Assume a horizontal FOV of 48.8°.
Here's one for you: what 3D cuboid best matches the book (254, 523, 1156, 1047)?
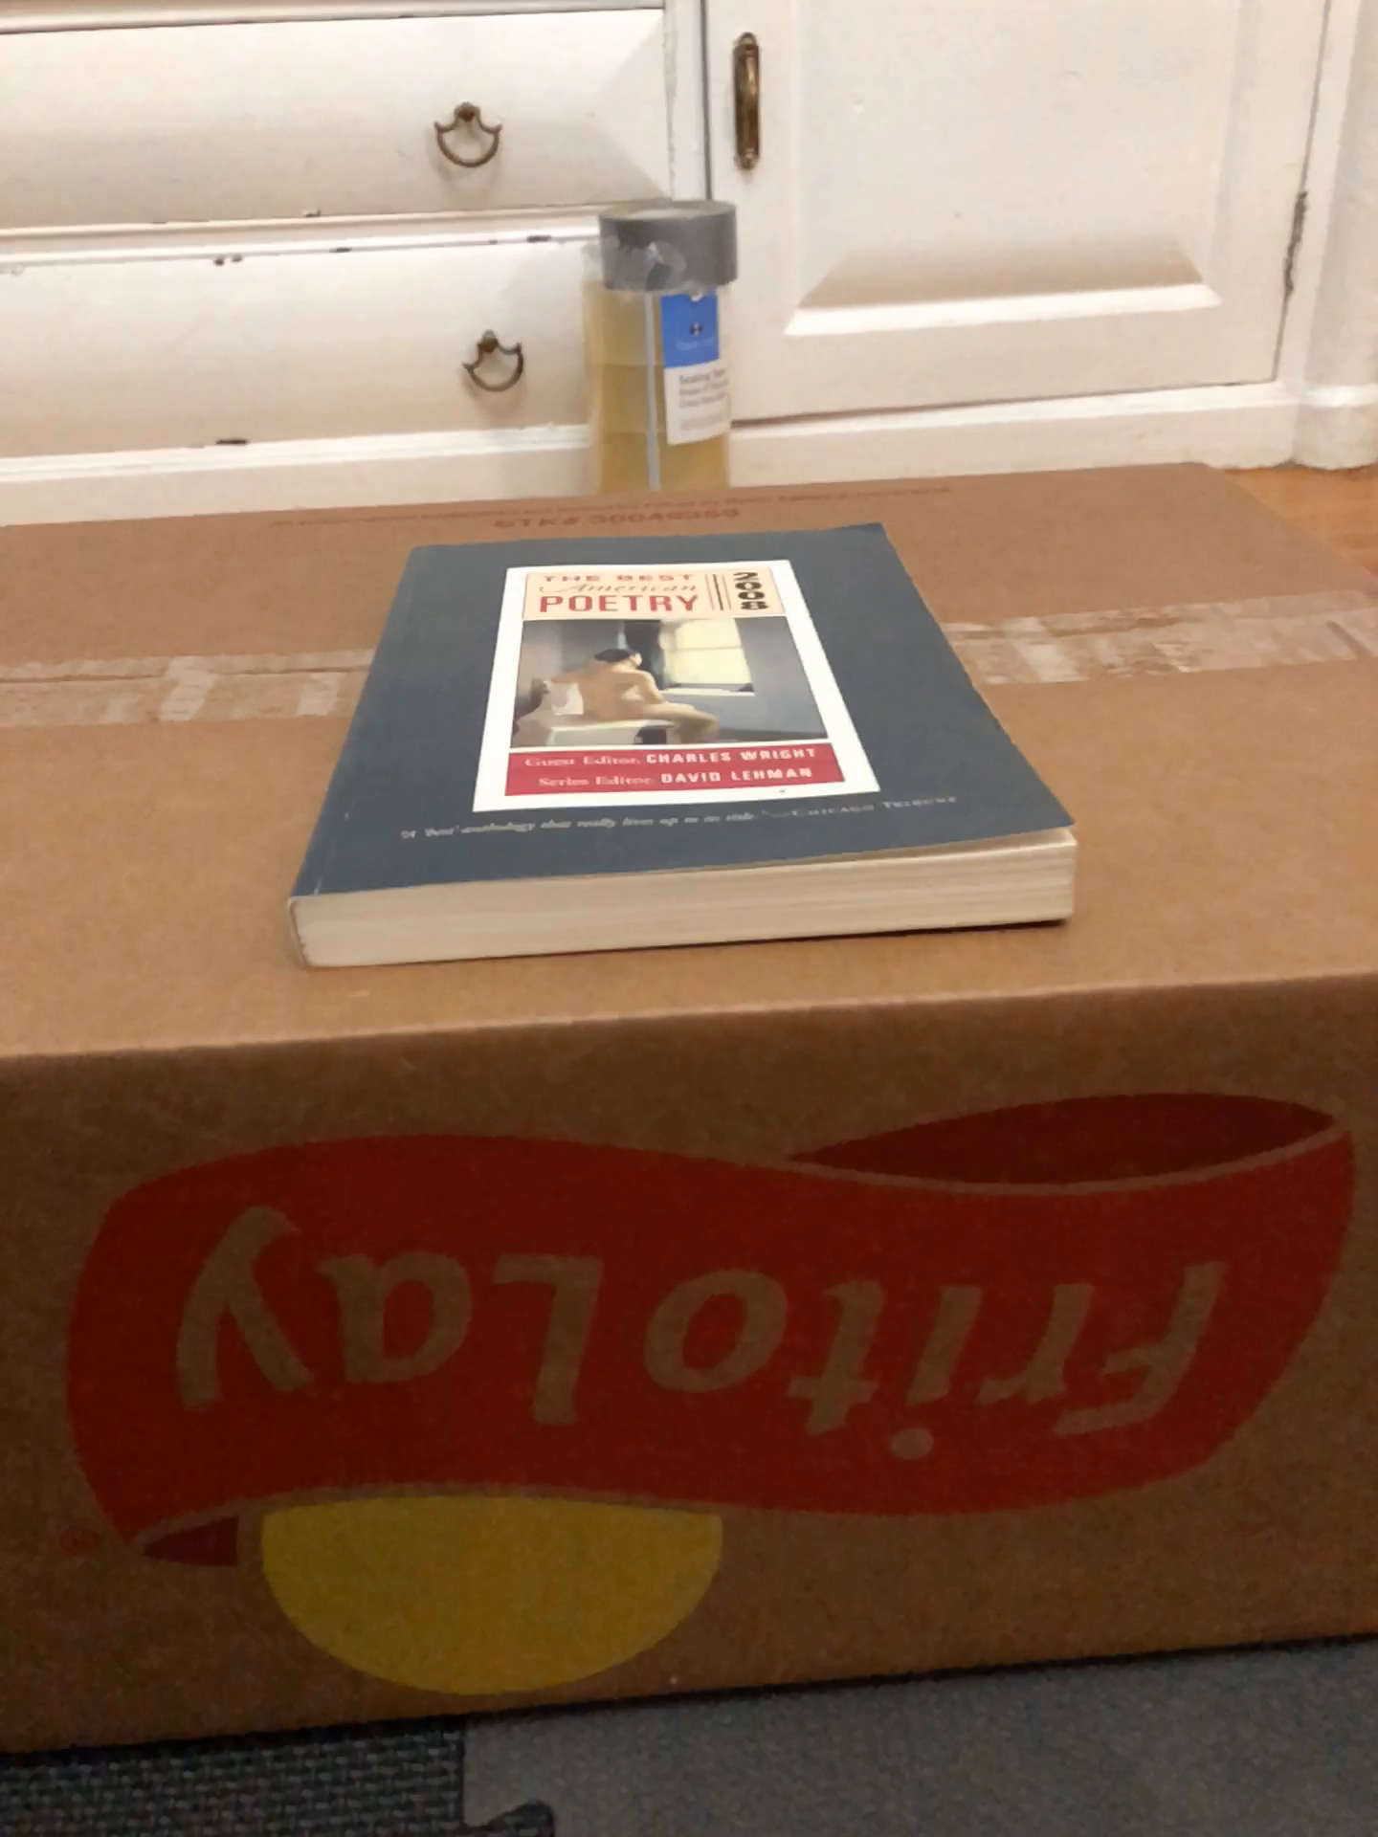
[{"bbox_3d":[-0.005,-0.049,0.357,0.150,0.020,0.231,-4,29,-3],"label":"book"}]
